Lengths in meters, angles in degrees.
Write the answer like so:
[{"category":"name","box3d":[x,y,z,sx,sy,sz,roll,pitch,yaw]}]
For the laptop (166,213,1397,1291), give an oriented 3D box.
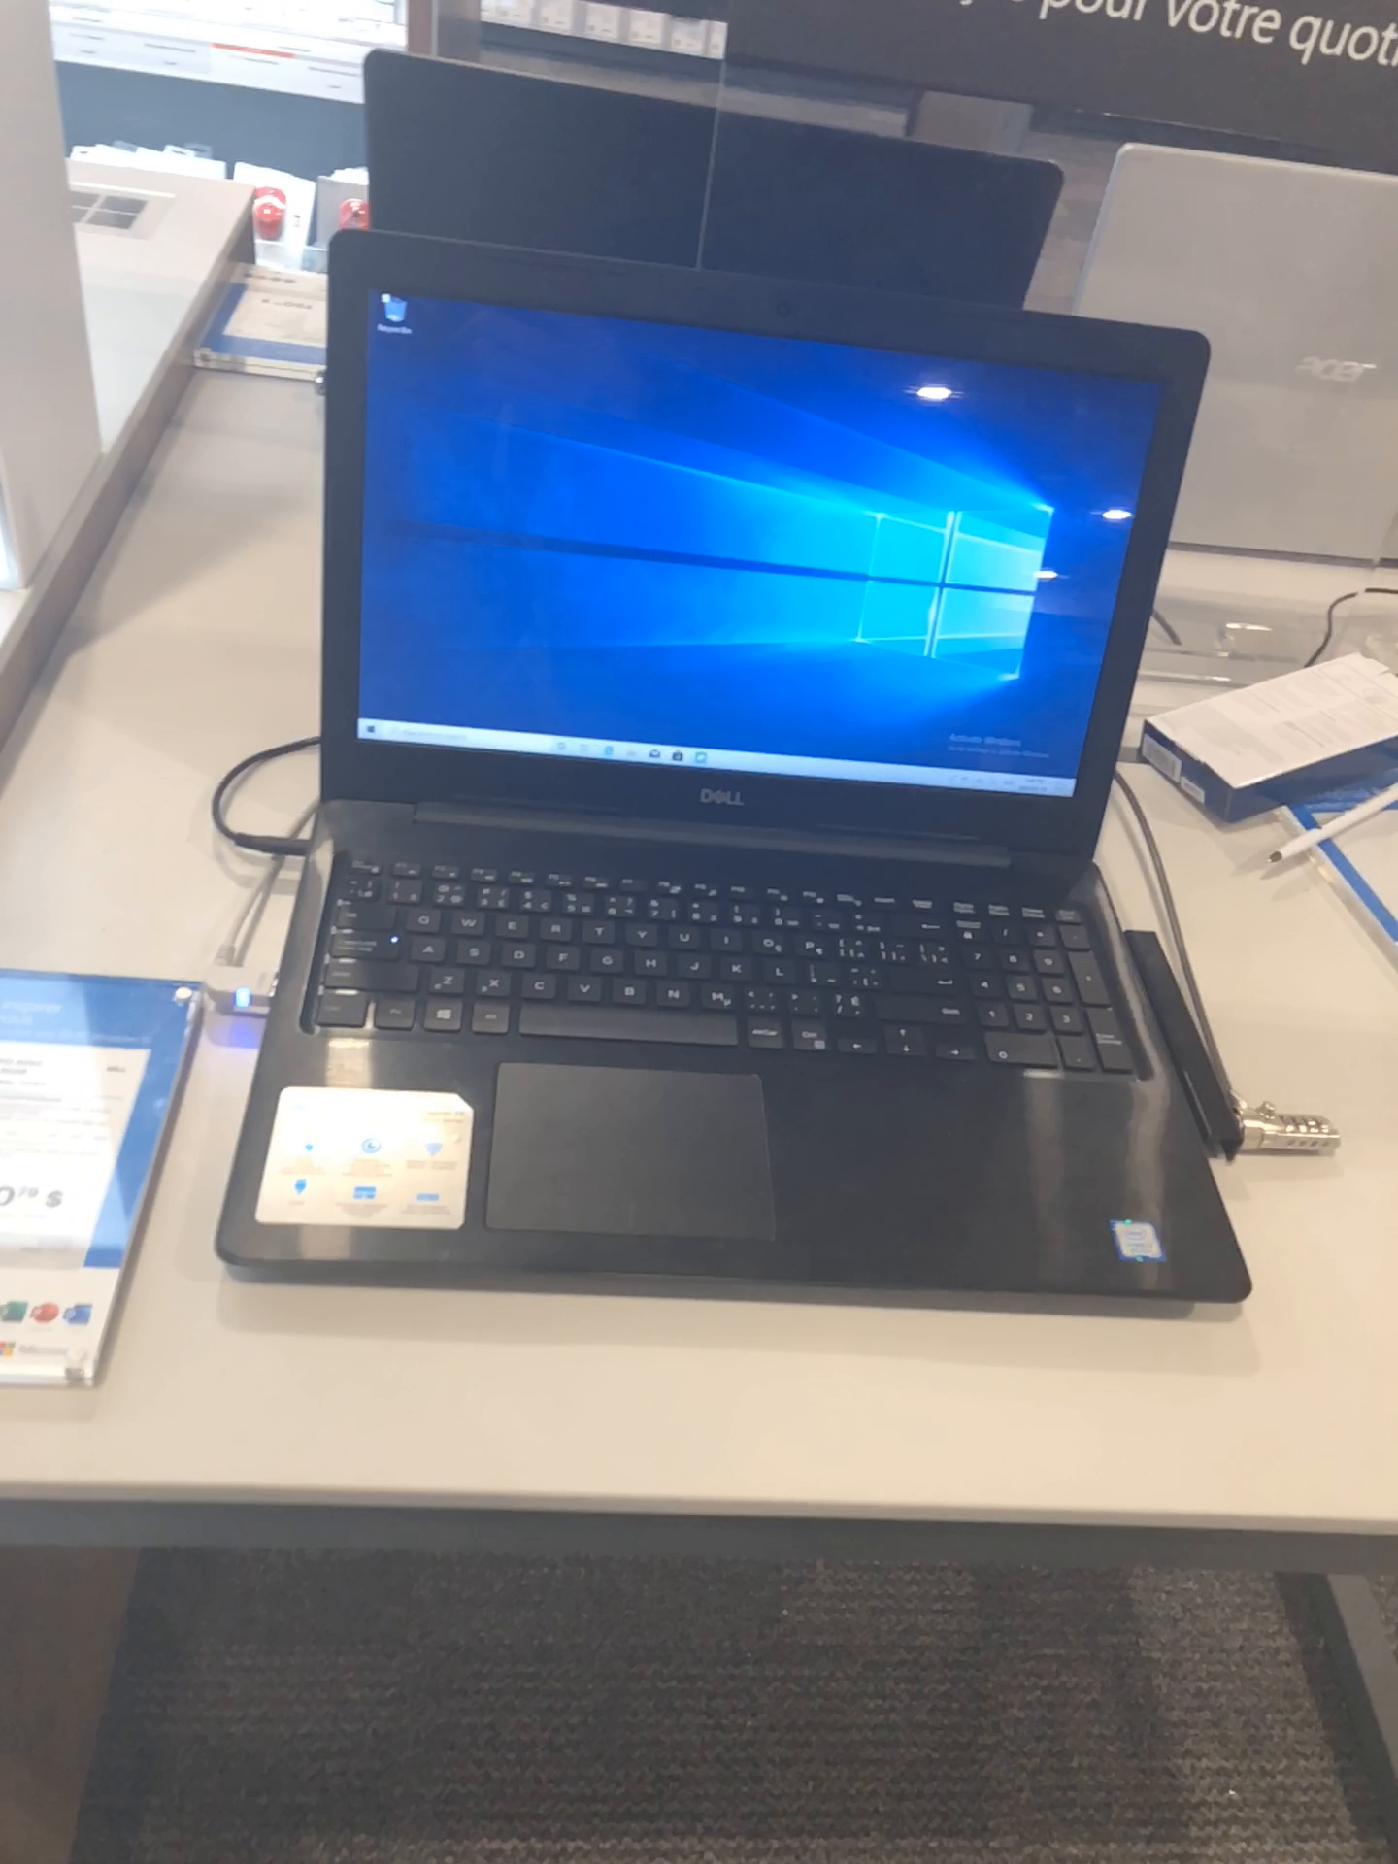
[{"category":"laptop","box3d":[0.025,-0.080,0.596,0.363,0.224,0.337,4,44,-6]}]
